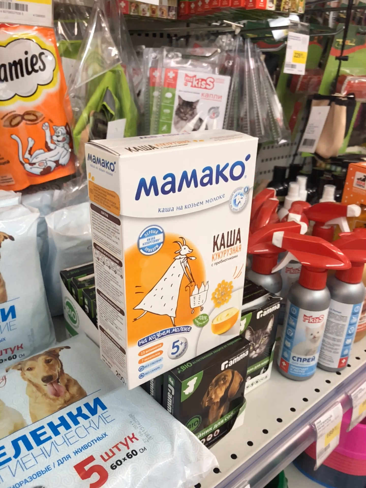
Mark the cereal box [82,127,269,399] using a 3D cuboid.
[{"bbox_3d":[-0.003,0.010,0.347,0.140,0.199,0.050,-16,29,-35],"label":"cereal box"}]
